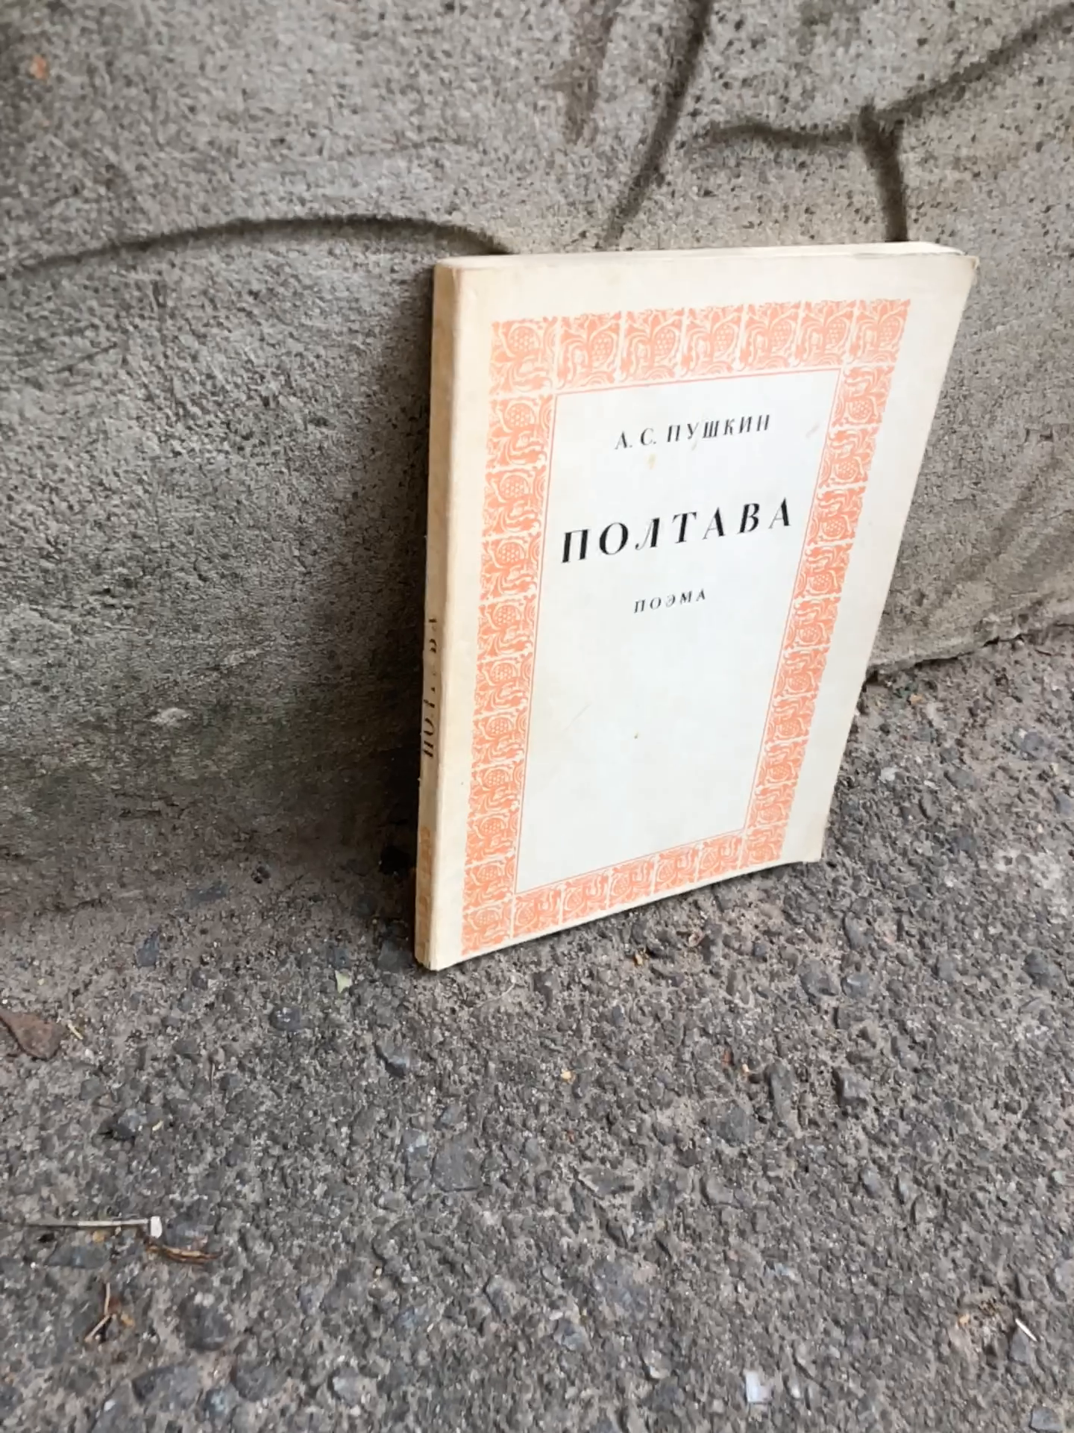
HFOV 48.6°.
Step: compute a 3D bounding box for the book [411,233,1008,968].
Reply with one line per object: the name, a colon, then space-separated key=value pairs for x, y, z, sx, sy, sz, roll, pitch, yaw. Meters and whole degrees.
book: x=0.041 y=-0.028 z=0.335 sx=0.150 sy=0.199 sz=0.020 roll=-11 pitch=36 yaw=-24
